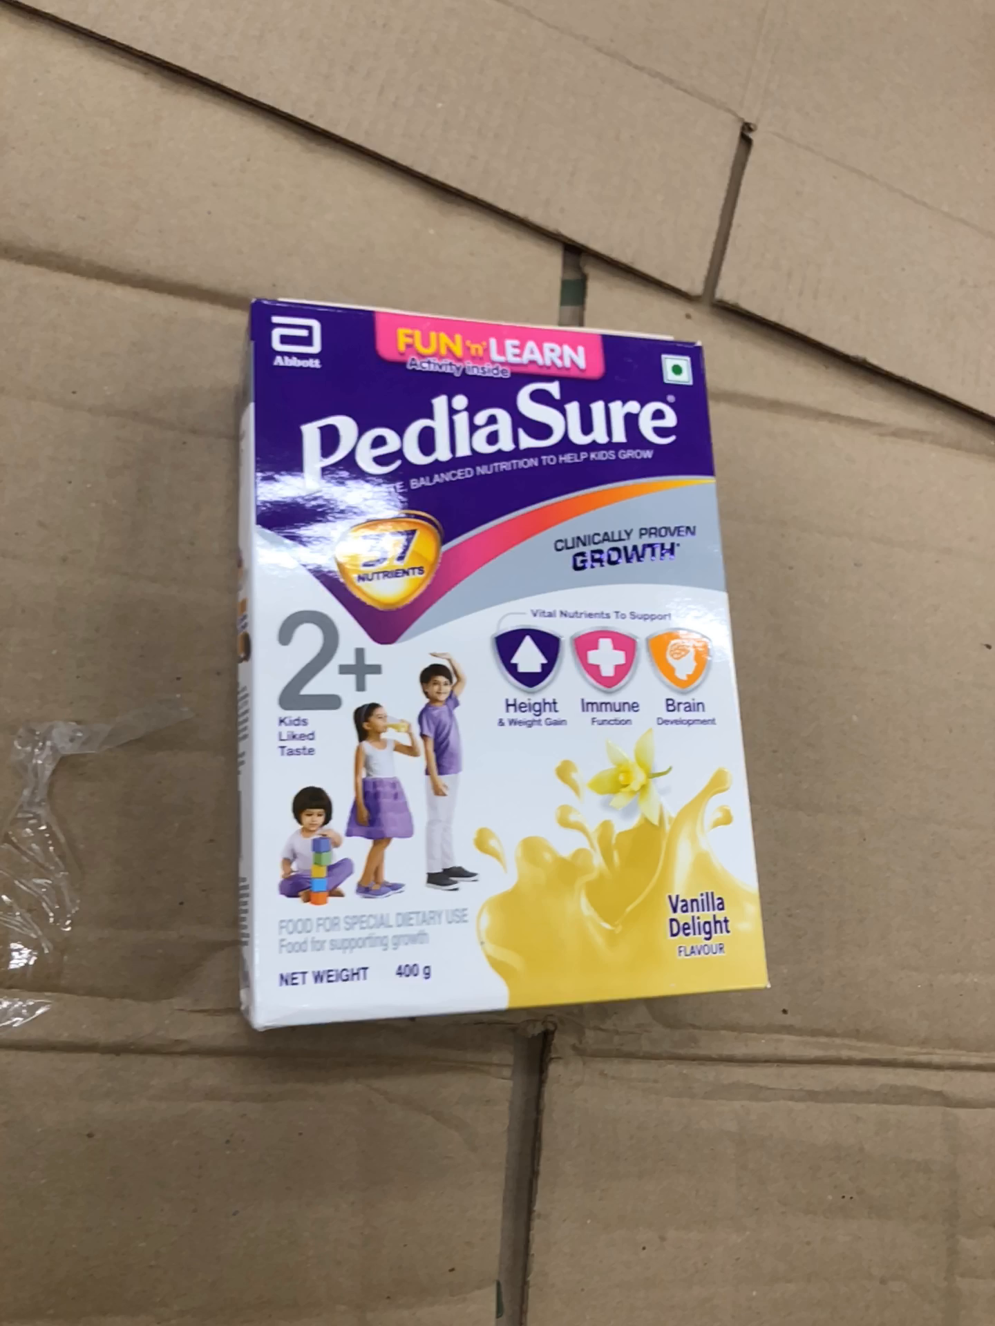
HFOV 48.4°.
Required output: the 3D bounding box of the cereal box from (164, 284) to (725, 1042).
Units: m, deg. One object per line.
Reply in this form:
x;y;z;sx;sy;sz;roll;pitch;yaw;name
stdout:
-0.019;0.000;0.313;0.140;0.050;0.190;1;77;-17;cereal box
